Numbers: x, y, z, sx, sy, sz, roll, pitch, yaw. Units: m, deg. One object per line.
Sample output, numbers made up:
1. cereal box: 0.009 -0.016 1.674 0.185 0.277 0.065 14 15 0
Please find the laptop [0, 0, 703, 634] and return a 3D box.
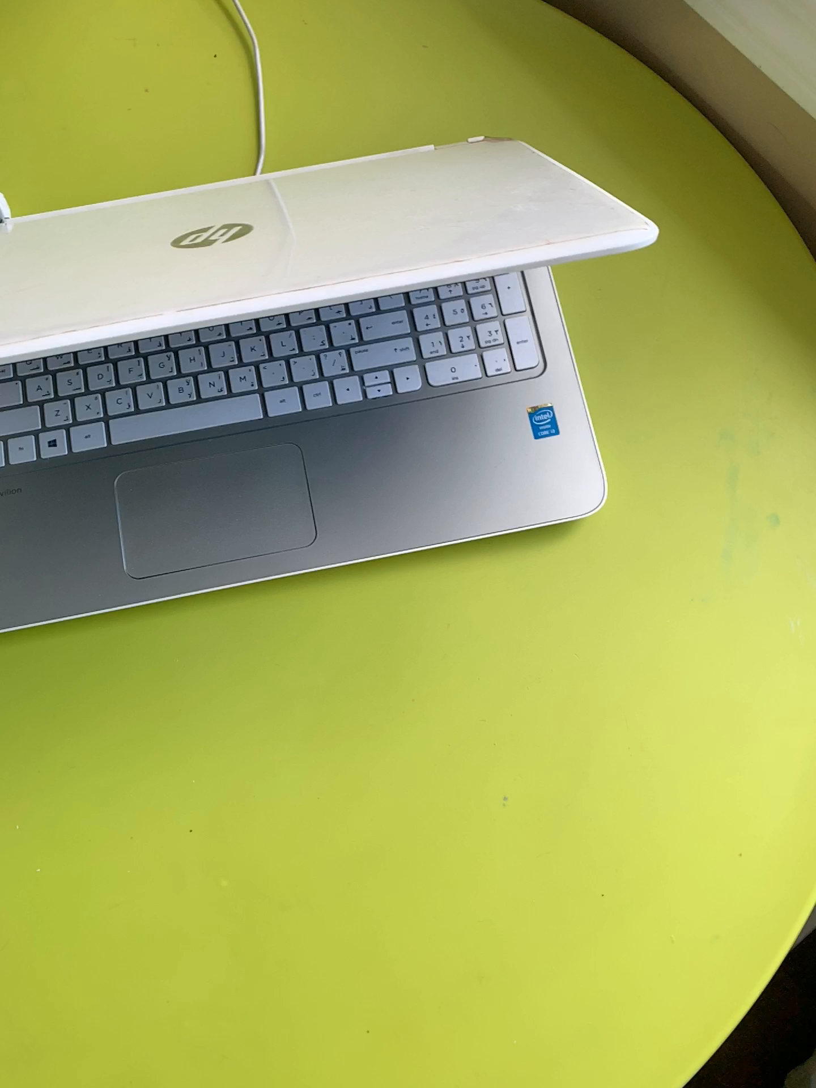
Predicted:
1. laptop: -0.090 -0.122 0.417 0.367 0.163 0.243 -11 76 -3
